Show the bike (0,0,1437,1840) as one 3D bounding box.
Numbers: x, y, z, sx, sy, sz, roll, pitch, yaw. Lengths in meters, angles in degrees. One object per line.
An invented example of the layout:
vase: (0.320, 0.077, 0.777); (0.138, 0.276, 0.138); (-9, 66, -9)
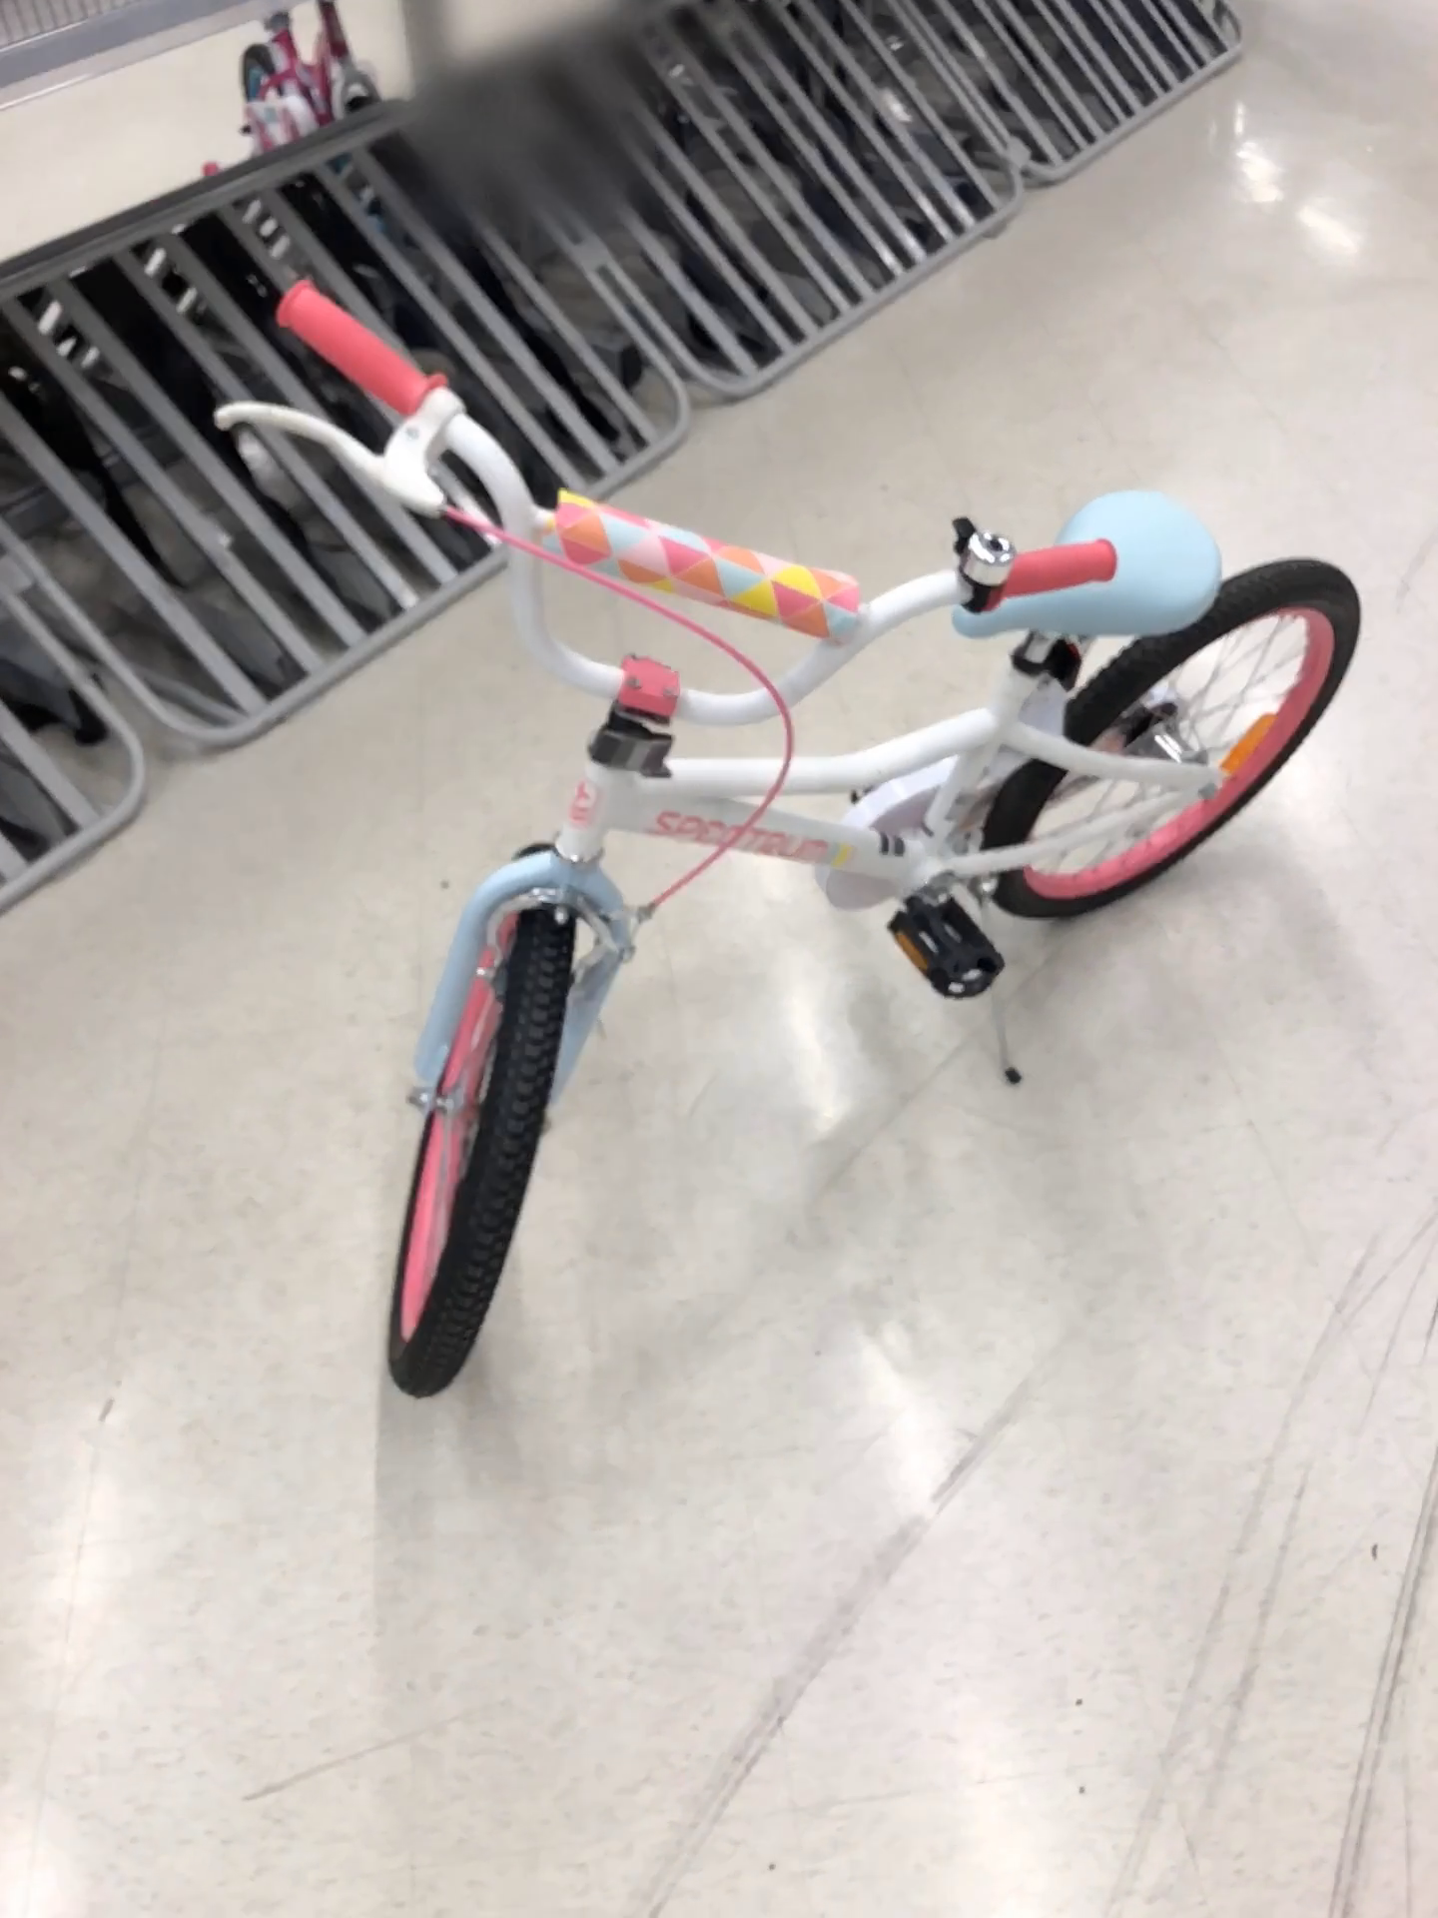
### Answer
bike: (0.242, -0.140, 1.365); (1.254, 0.962, 0.634); (-34, 53, -25)
